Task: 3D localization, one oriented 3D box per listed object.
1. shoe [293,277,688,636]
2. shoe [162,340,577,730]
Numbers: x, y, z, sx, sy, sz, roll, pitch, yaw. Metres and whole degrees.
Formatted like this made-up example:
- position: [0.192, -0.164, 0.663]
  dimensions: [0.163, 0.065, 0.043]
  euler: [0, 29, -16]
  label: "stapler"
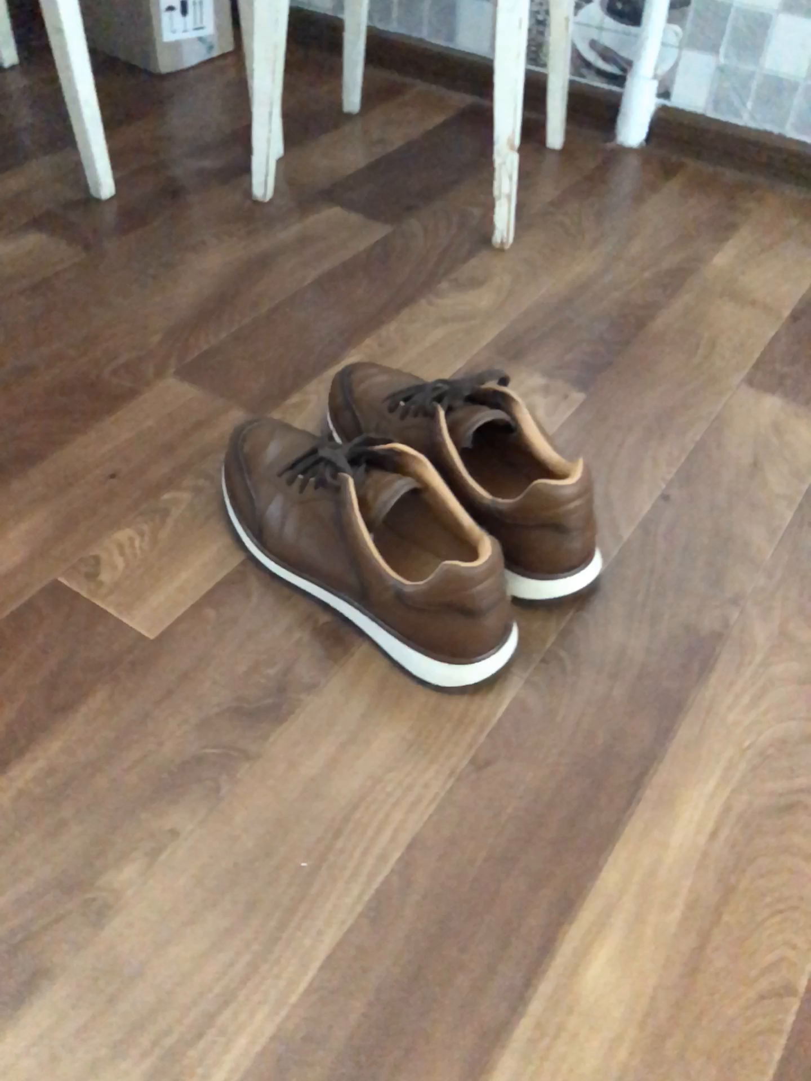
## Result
- position: [0.046, -0.074, 0.646]
  dimensions: [0.110, 0.089, 0.281]
  euler: [-30, 54, -27]
  label: "shoe"
- position: [-0.034, -0.017, 0.598]
  dimensions: [0.100, 0.089, 0.281]
  euler: [-34, 56, -30]
  label: "shoe"
